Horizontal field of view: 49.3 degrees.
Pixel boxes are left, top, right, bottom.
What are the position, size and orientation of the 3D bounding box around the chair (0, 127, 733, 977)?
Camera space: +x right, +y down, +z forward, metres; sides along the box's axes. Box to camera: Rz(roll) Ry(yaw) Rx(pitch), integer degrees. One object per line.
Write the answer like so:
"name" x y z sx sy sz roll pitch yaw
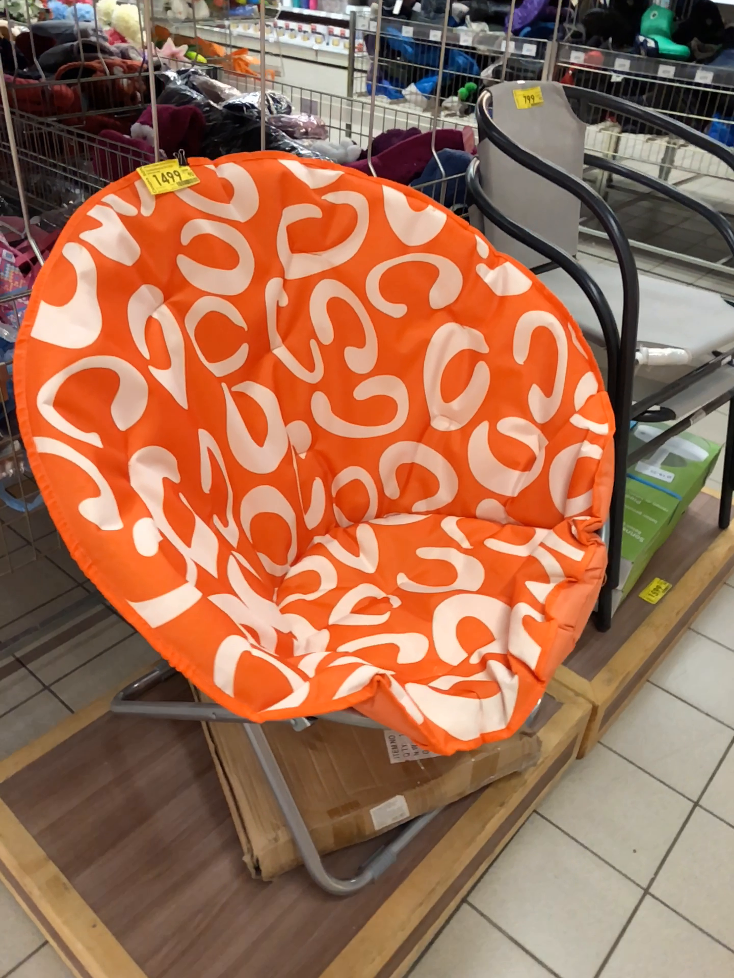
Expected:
"chair" -0.023 -0.045 1.041 0.712 0.605 0.737 30 42 33
